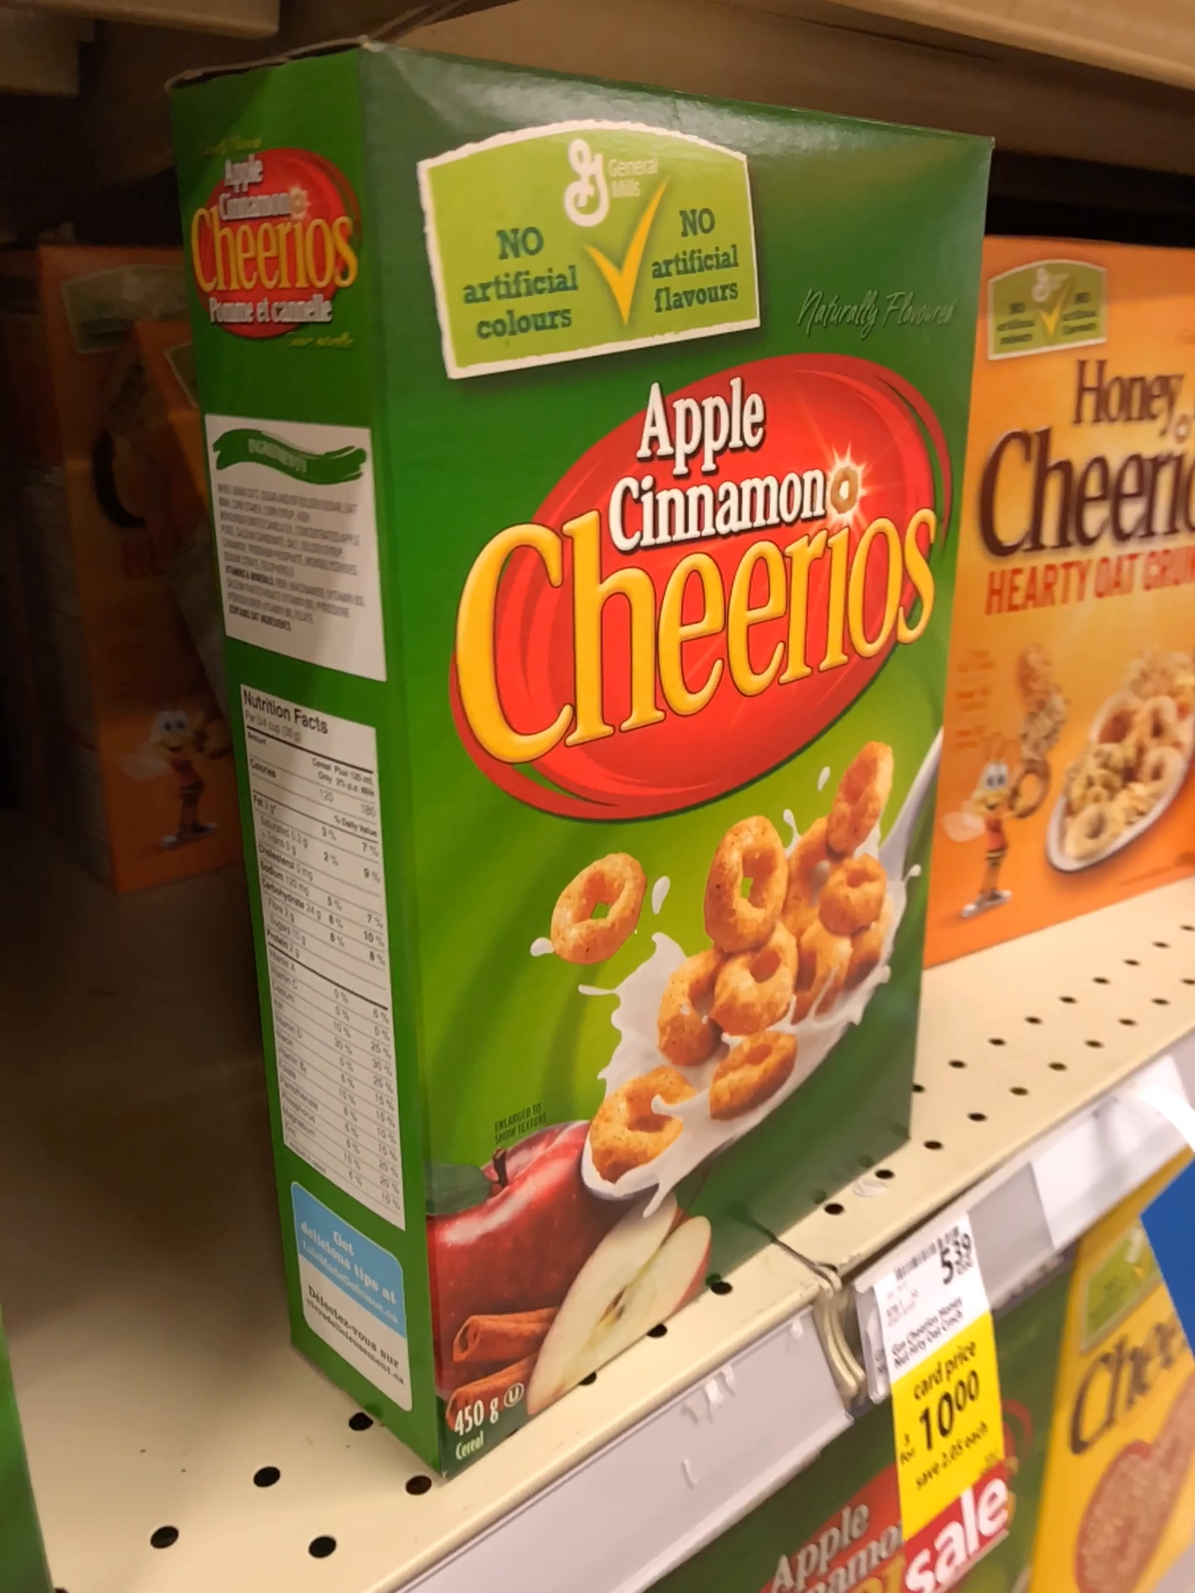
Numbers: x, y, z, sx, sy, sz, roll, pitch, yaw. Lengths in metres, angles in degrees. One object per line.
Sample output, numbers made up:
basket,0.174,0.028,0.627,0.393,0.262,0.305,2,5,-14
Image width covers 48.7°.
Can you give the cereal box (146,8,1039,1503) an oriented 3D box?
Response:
cereal box,0.016,-0.015,0.338,0.070,0.289,0.211,17,26,41
